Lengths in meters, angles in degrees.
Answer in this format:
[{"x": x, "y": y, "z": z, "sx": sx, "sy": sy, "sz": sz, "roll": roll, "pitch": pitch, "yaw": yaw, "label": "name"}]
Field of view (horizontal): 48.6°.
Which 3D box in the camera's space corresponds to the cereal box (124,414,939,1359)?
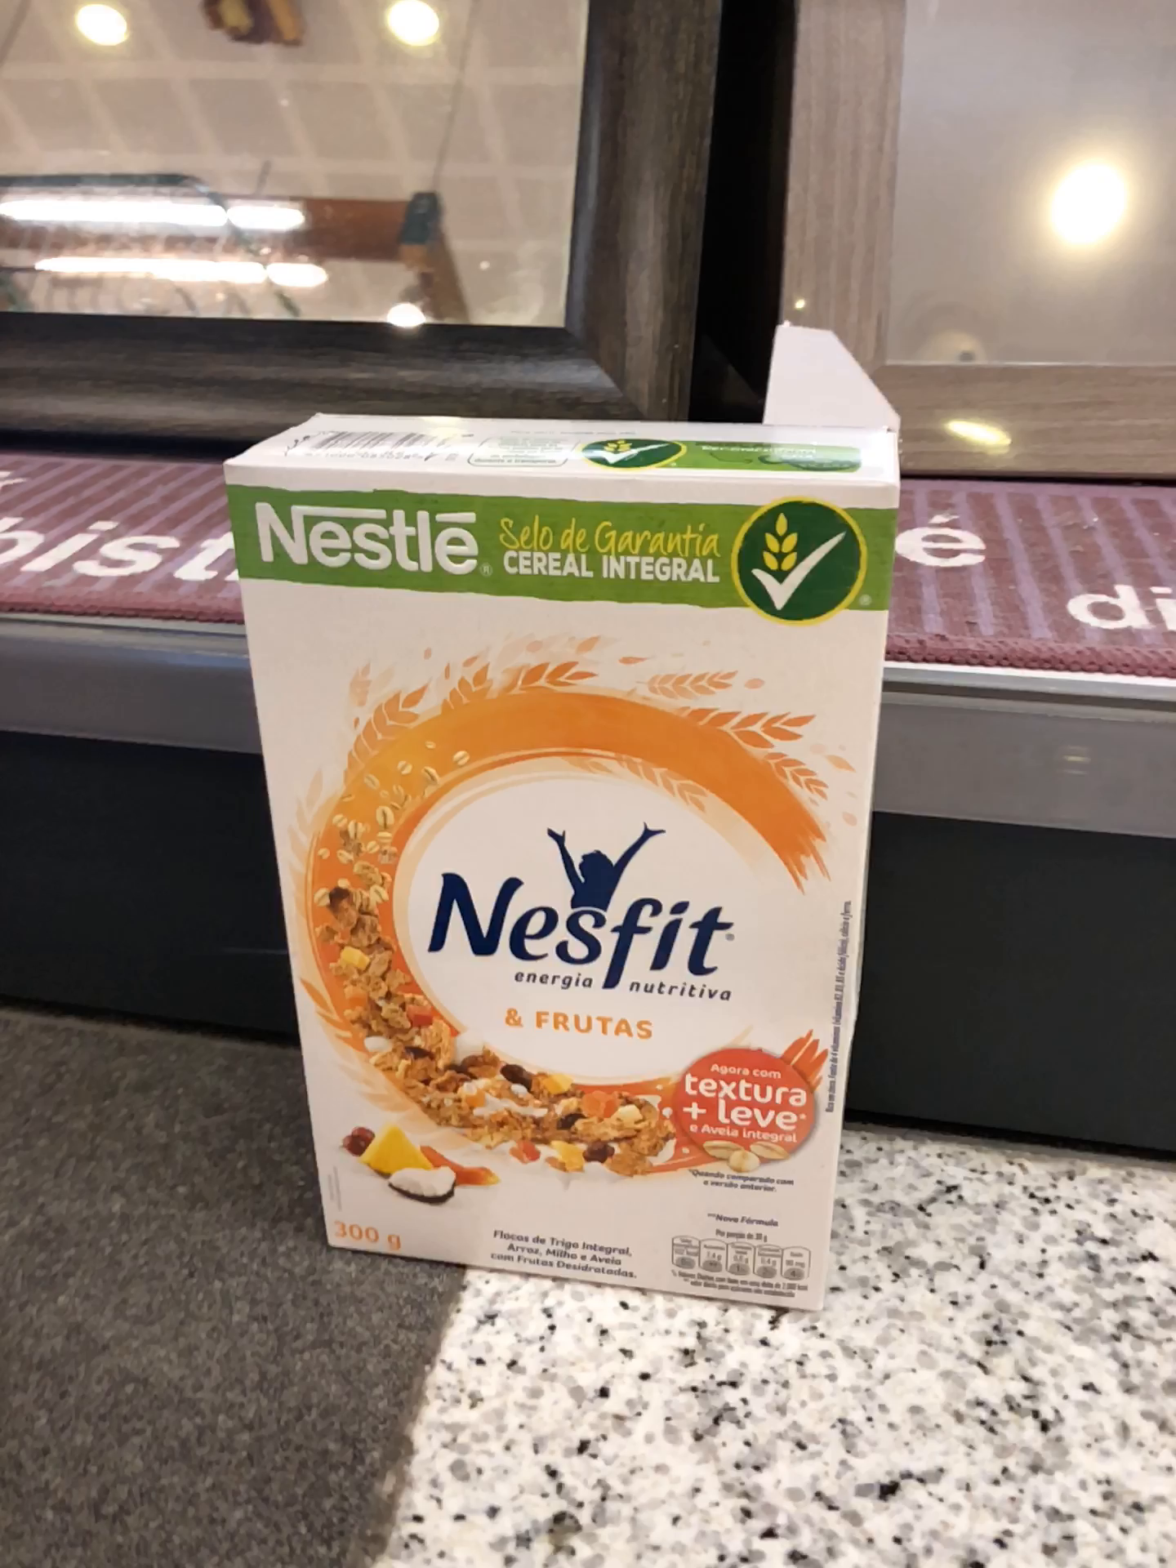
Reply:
[{"x": -0.008, "y": 0.034, "z": 0.350, "sx": 0.170, "sy": 0.248, "sz": 0.060, "roll": 3, "pitch": 28, "yaw": 9, "label": "cereal box"}]
